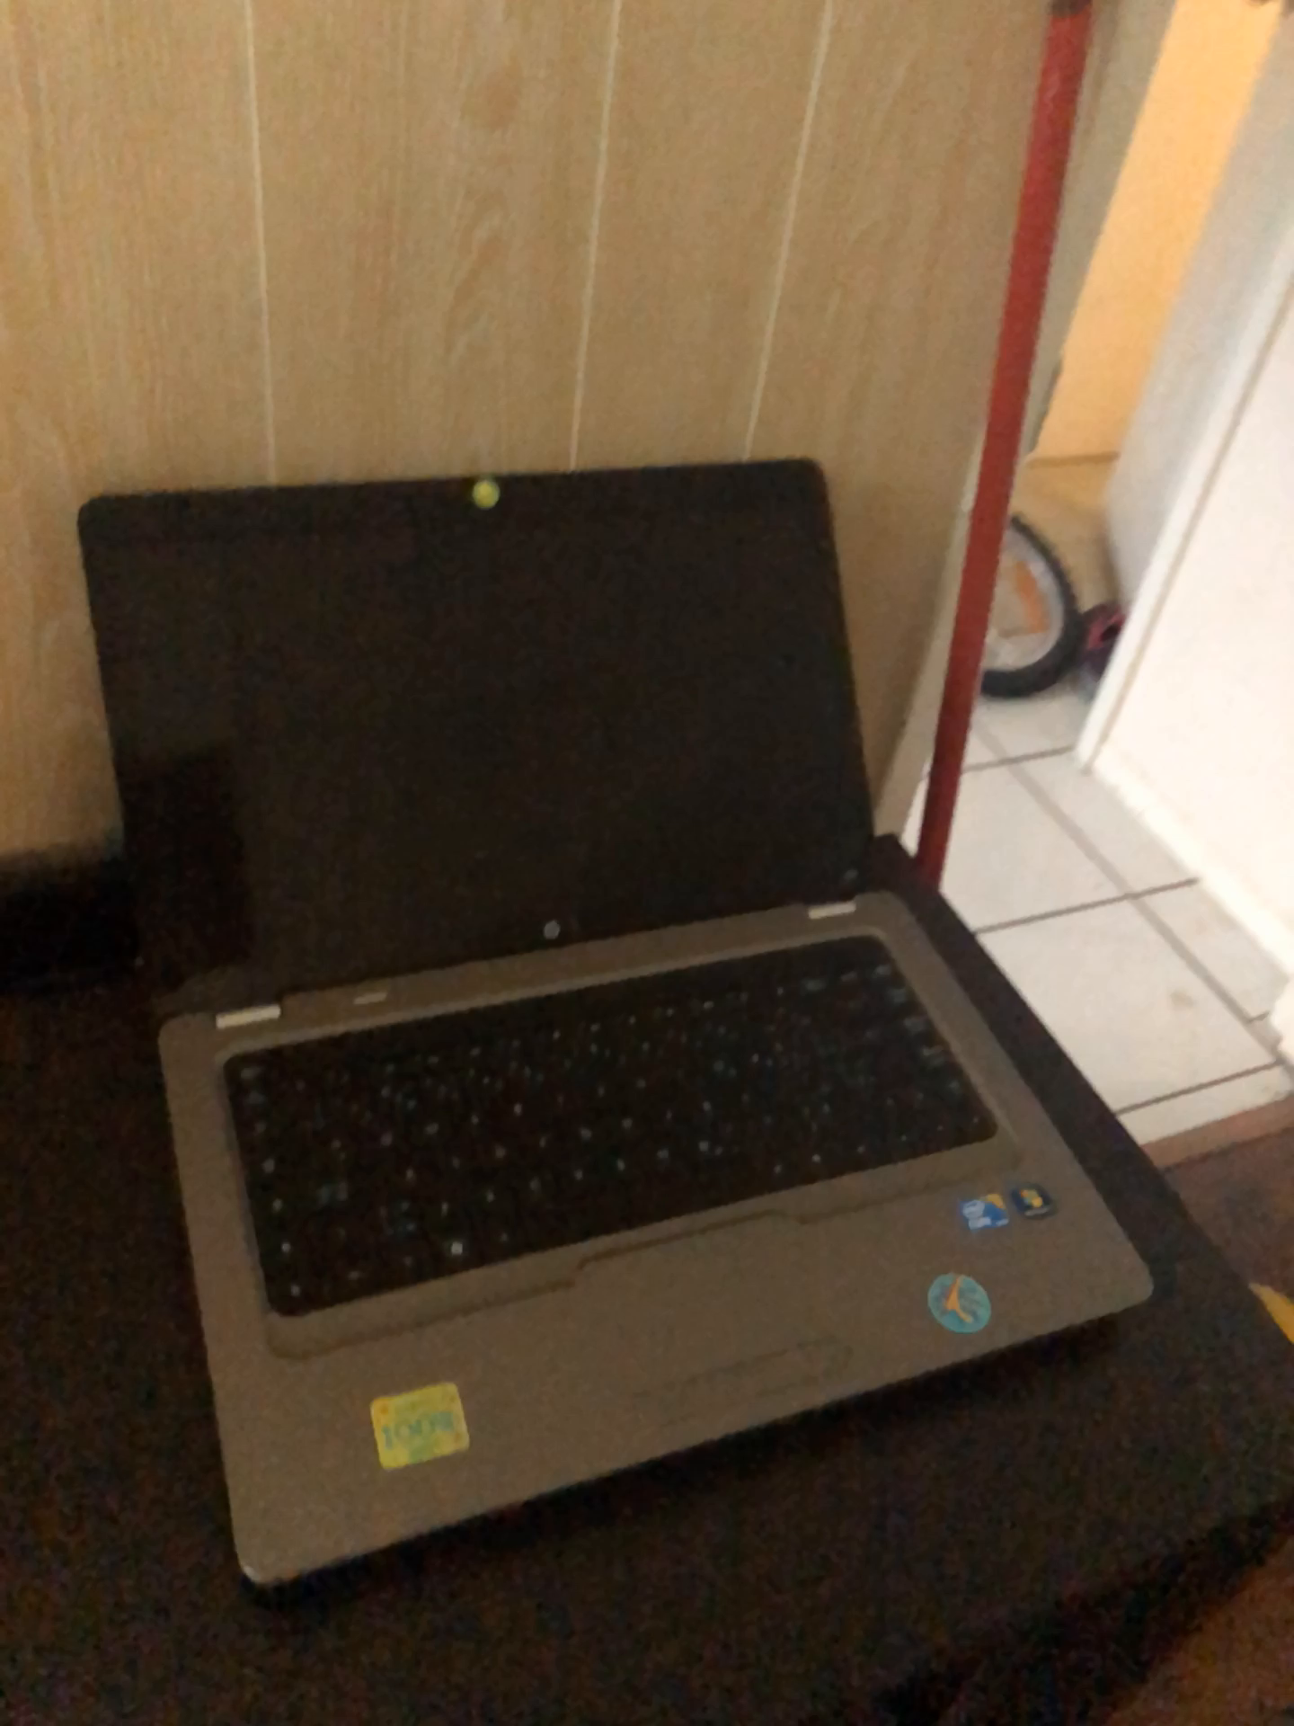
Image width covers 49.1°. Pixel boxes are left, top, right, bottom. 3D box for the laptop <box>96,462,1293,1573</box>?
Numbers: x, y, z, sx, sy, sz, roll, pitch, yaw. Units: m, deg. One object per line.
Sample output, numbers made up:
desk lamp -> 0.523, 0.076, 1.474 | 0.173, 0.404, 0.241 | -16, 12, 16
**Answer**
laptop -> -0.022, 0.009, 0.618 | 0.363, 0.154, 0.421 | -8, 46, -20
